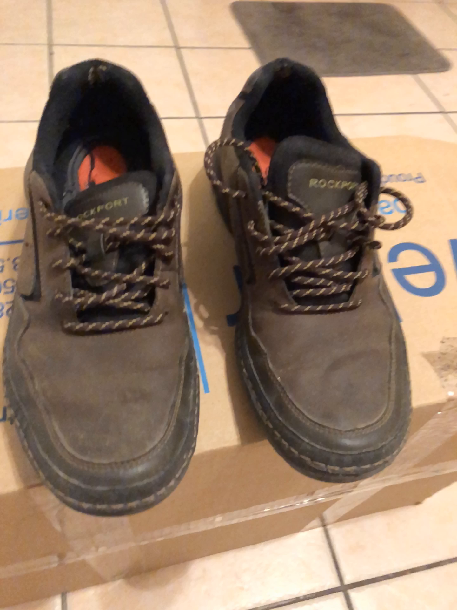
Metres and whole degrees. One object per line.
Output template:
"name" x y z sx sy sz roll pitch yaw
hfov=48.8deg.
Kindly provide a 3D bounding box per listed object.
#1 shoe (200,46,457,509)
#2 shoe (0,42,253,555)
"shoe" 0.056 -0.039 0.330 0.110 0.109 0.292 -2 53 -10
"shoe" -0.072 -0.025 0.296 0.110 0.109 0.282 -2 54 -10
